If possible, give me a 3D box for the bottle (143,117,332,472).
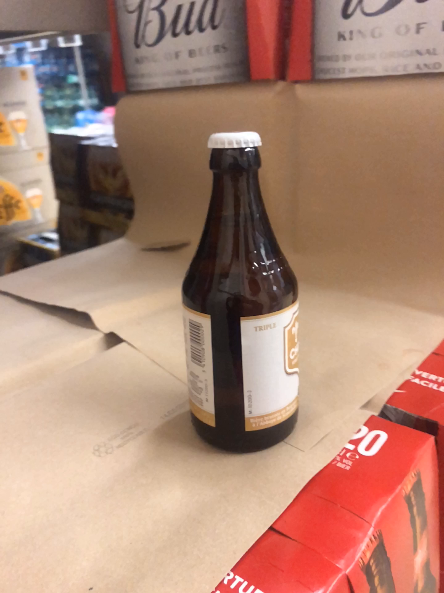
[{"bbox_3d":[0.016,-0.006,0.272,0.070,0.169,0.080,5,22,20],"label":"bottle"}]
